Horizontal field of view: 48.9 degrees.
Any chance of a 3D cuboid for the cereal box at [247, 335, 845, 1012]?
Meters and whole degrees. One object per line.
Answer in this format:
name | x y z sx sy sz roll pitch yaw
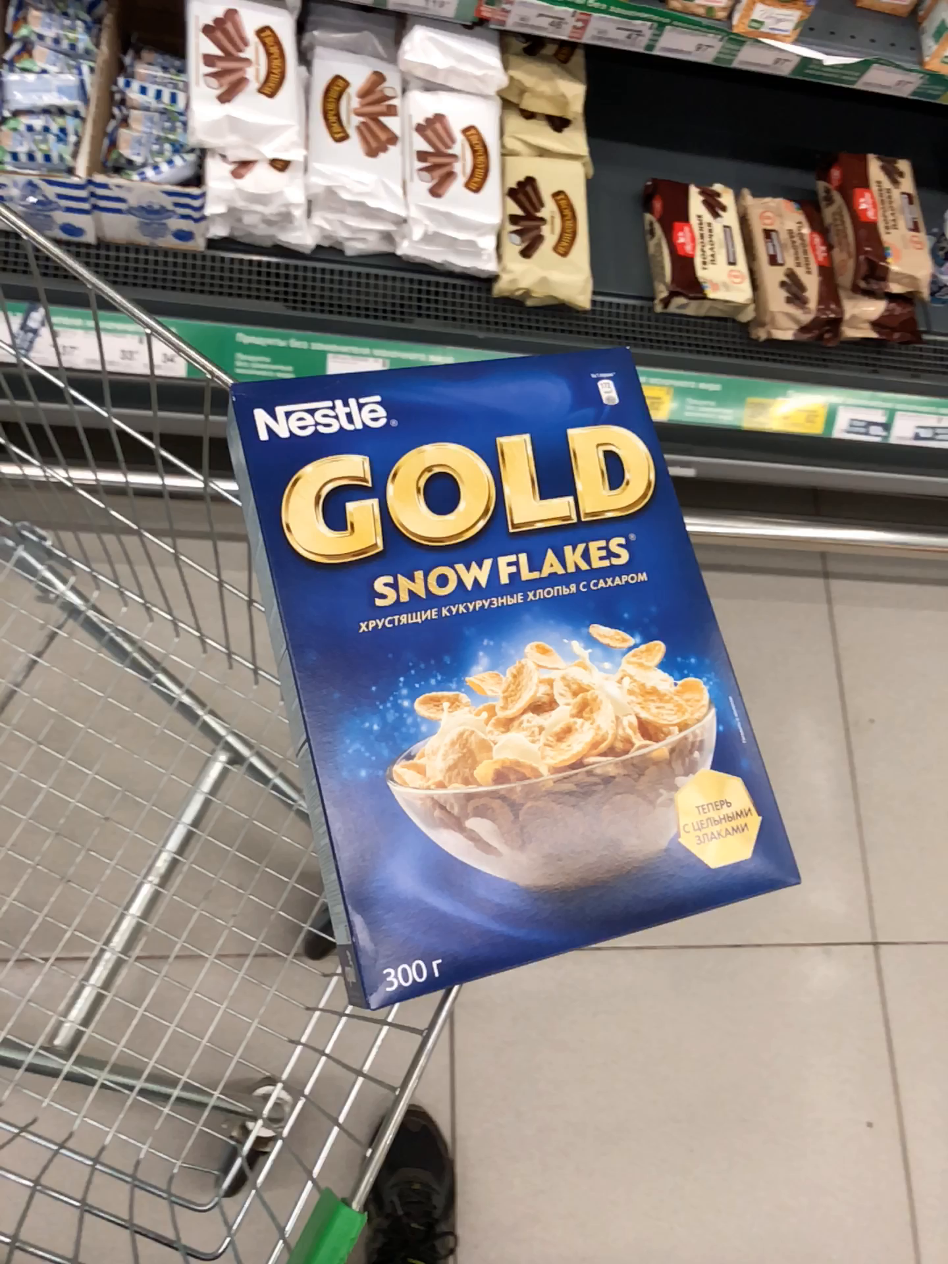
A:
cereal box | 0.027 0.003 0.465 0.200 0.050 0.270 -9 75 -21
